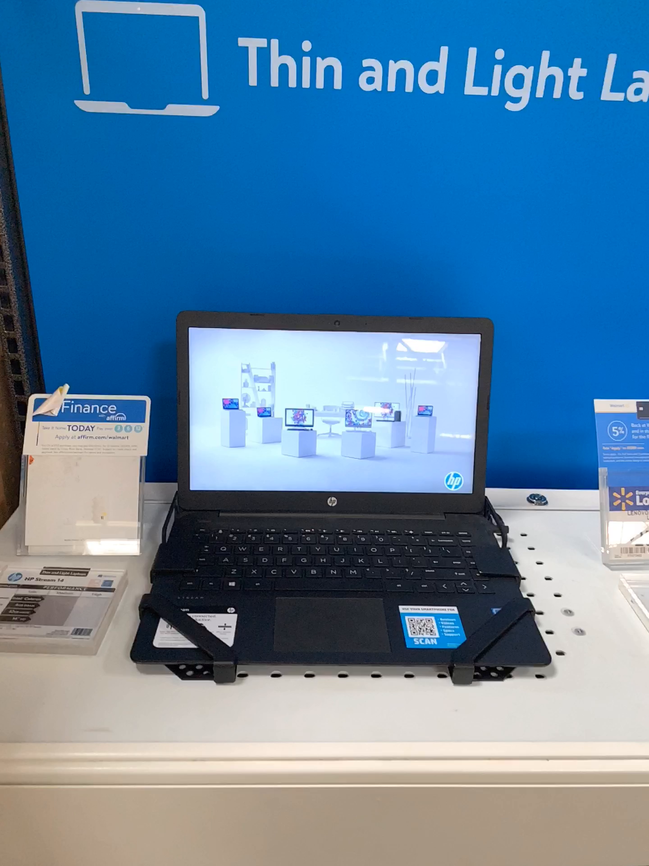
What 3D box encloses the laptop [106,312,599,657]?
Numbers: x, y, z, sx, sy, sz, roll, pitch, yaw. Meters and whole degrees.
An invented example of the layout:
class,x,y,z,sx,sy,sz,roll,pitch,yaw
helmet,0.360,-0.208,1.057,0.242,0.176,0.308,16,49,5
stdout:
class,x,y,z,sx,sy,sz,roll,pitch,yaw
laptop,0.013,0.026,0.601,0.325,0.203,0.270,1,24,-3
